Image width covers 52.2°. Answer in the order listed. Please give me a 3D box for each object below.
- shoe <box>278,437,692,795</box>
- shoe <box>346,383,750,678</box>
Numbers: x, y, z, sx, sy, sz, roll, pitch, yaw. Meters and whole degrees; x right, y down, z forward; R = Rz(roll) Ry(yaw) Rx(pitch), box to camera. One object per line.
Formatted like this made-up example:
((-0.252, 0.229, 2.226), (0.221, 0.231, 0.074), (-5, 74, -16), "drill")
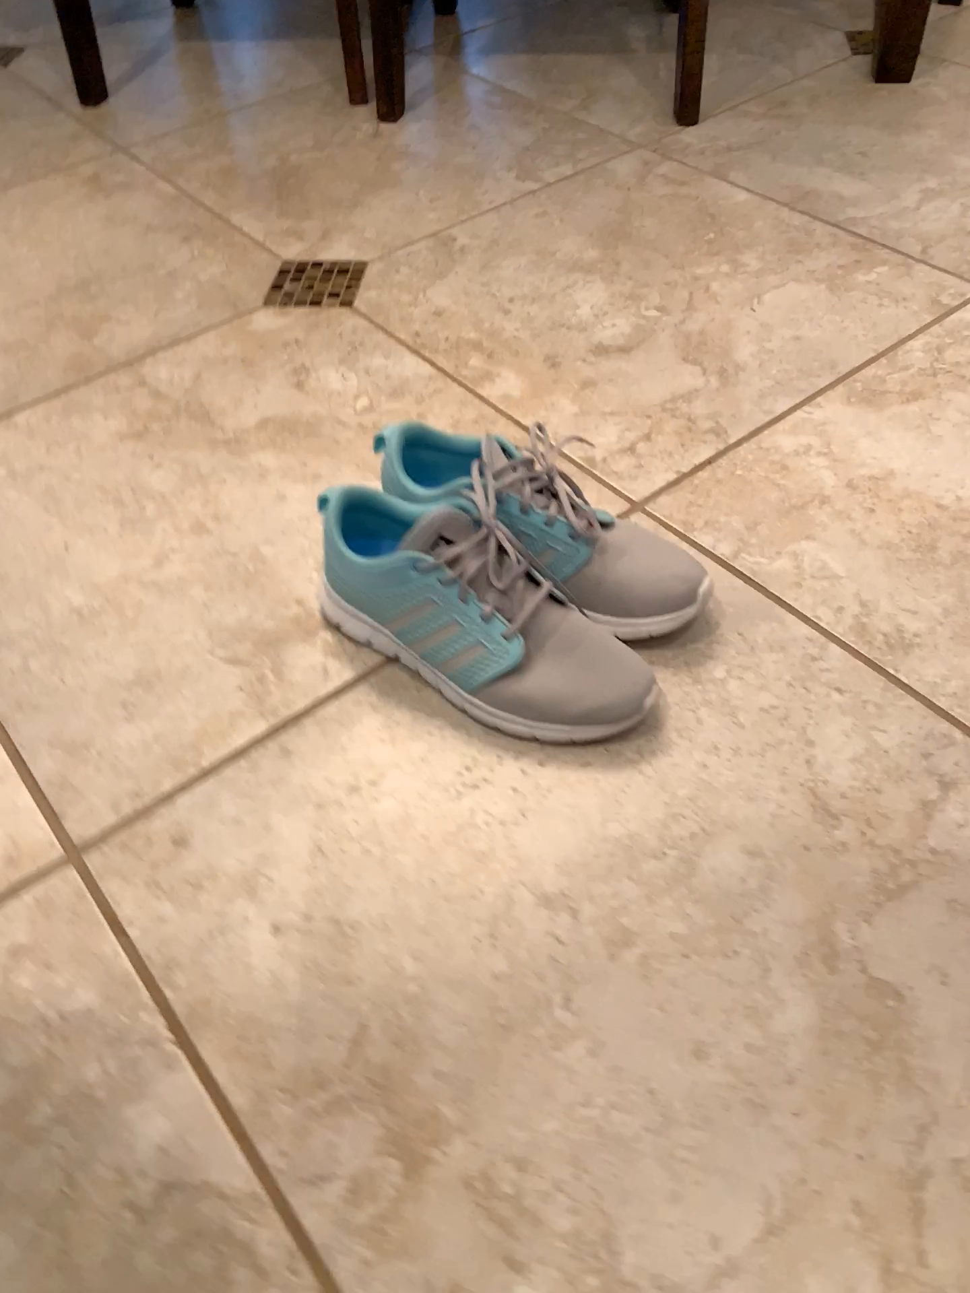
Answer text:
((-0.005, -0.030, 0.702), (0.271, 0.108, 0.106), (30, 56, 27), "shoe")
((0.044, -0.094, 0.752), (0.271, 0.108, 0.107), (21, 53, 21), "shoe")
